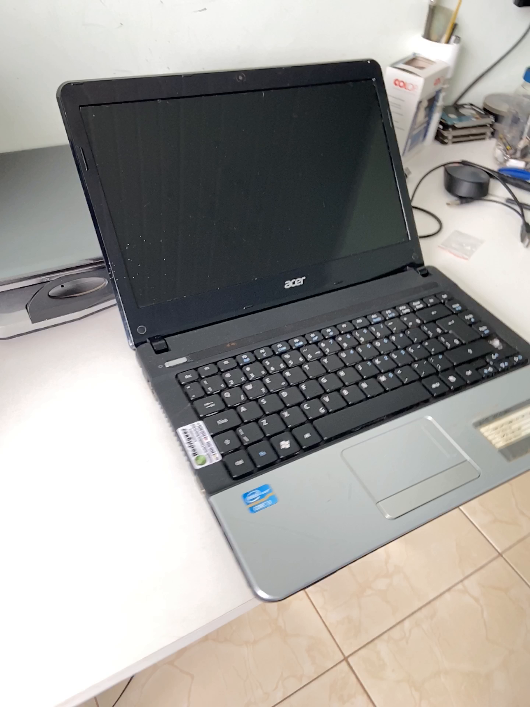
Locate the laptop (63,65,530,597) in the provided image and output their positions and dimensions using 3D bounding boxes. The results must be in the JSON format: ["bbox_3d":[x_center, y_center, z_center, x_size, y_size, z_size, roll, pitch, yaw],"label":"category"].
[{"bbox_3d":[0.063,-0.085,0.456,0.333,0.162,0.397,-17,48,-23],"label":"laptop"}]
